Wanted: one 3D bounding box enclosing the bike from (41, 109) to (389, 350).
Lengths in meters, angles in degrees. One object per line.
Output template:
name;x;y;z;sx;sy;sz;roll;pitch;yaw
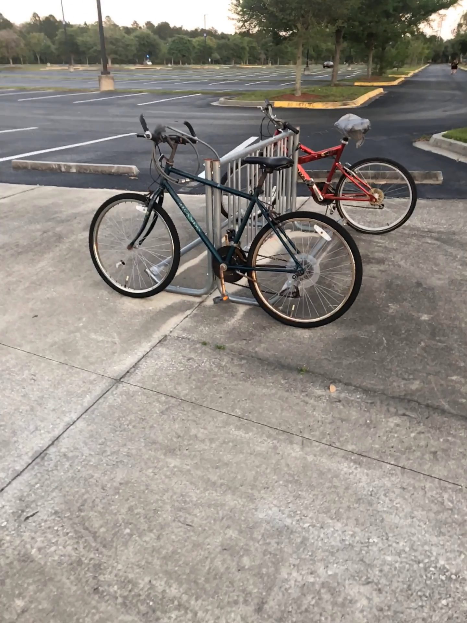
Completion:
bike;-0.117;-0.551;2.967;1.752;1.103;0.586;10;27;20
